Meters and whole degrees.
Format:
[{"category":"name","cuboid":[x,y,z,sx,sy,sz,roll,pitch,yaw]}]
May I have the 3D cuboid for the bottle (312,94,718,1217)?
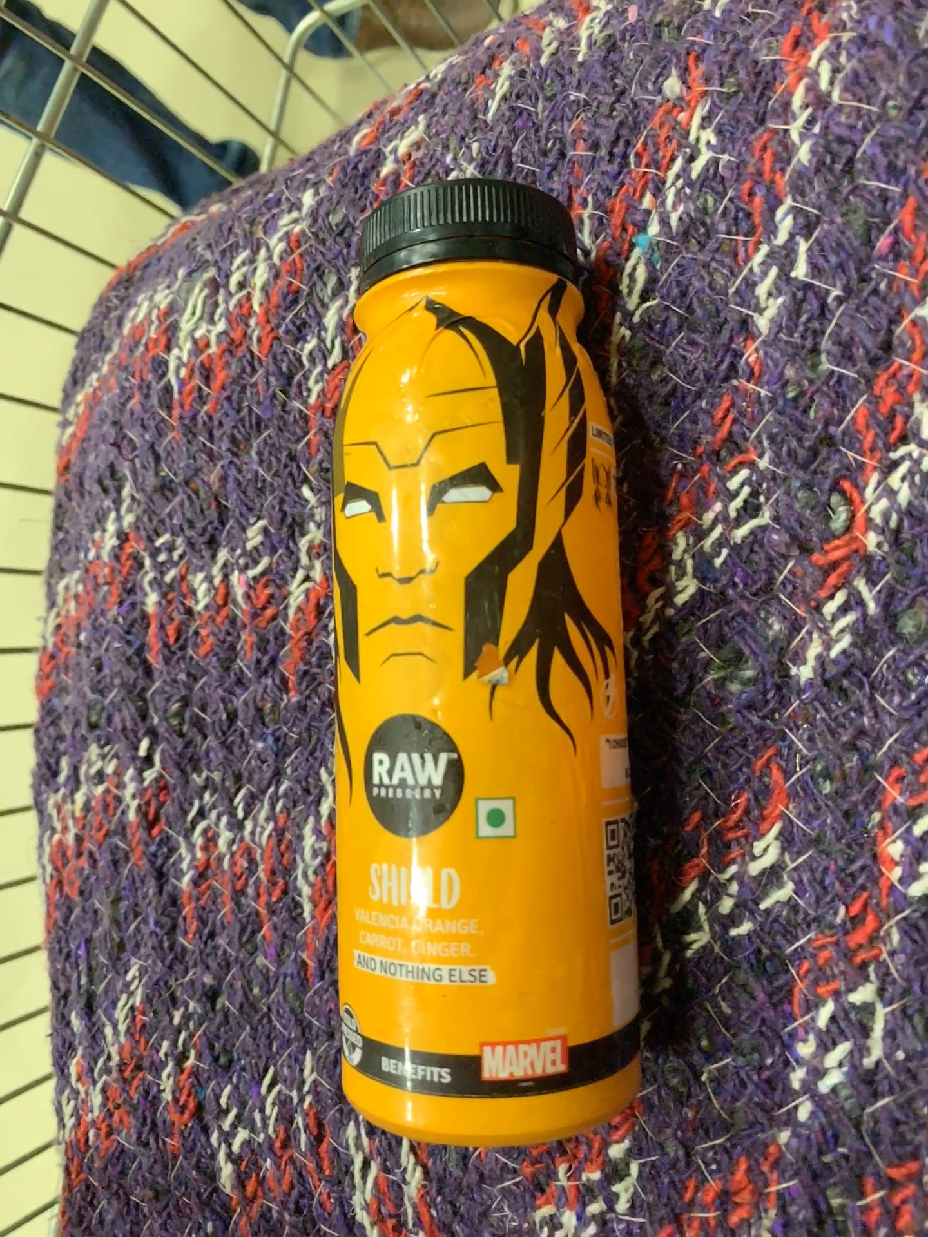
[{"category":"bottle","cuboid":[0.011,0.004,0.172,0.050,0.050,0.160,-4,83,34]}]
